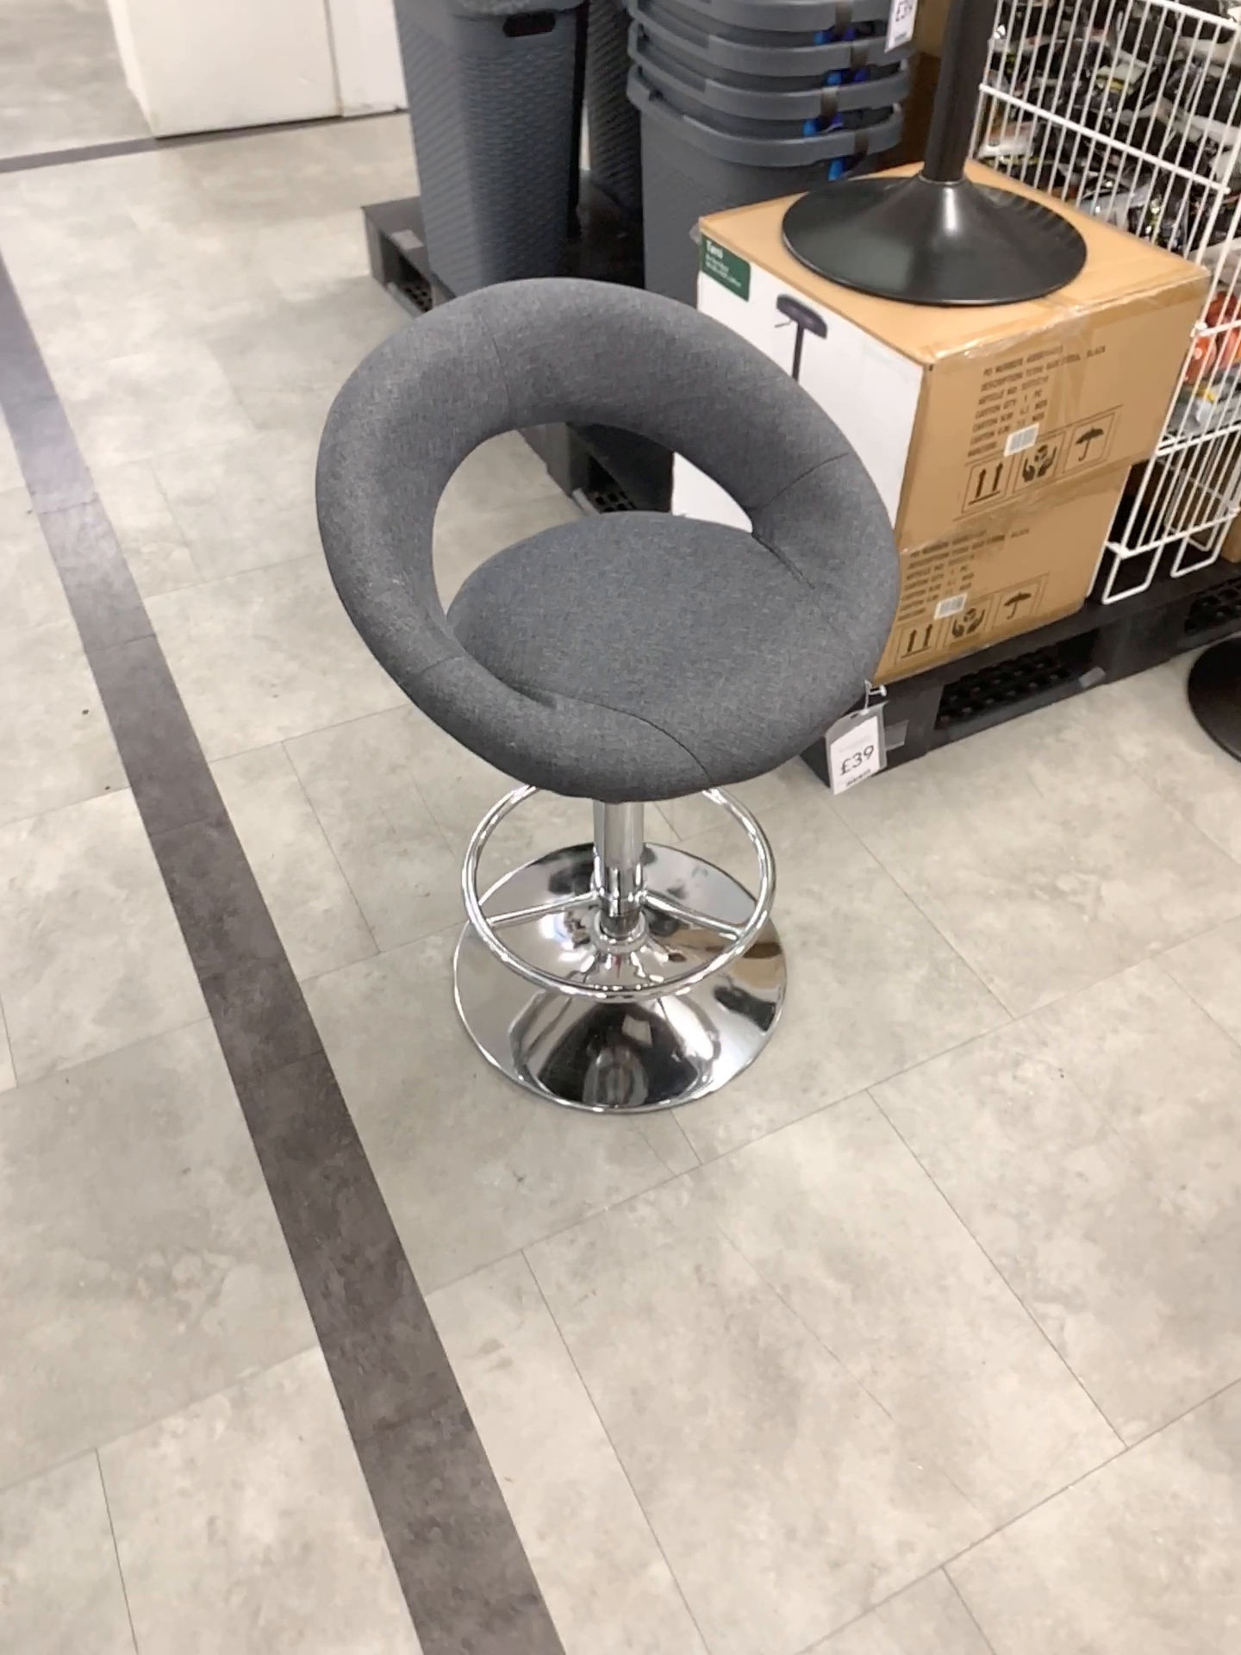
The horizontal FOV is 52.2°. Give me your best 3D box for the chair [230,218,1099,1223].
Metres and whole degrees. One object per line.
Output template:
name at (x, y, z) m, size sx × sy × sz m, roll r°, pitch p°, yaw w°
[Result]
chair at (0.017, -0.098, 1.335) m, size 0.547 × 0.788 × 0.488 m, roll -23°, pitch 51°, yaw -22°
